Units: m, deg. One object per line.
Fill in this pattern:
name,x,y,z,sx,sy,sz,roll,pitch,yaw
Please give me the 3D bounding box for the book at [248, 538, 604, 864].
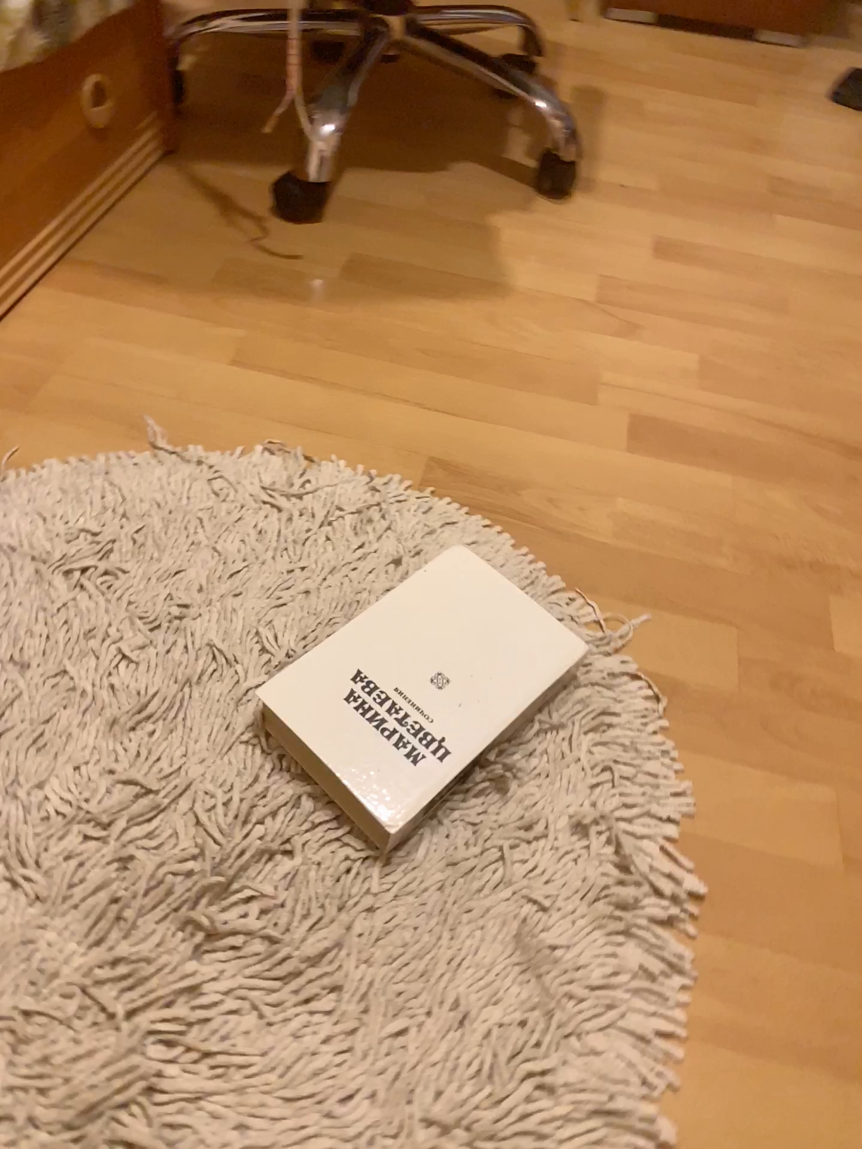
book,0.000,0.076,0.616,0.140,0.040,0.208,39,54,23
